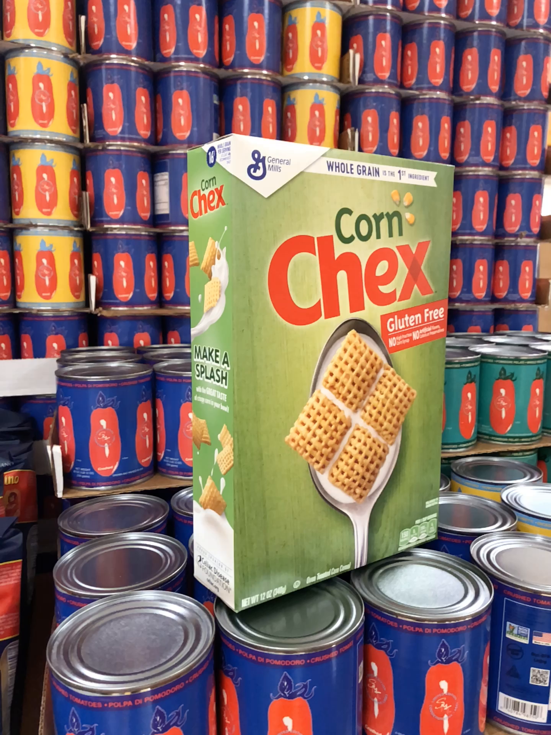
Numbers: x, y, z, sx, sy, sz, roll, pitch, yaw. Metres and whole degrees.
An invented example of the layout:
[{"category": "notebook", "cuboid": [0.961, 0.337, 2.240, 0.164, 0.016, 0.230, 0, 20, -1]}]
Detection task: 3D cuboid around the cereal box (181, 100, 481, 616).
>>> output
[{"category": "cereal box", "cuboid": [0.047, -0.010, 0.437, 0.220, 0.299, 0.060, -5, 10, -35]}]
